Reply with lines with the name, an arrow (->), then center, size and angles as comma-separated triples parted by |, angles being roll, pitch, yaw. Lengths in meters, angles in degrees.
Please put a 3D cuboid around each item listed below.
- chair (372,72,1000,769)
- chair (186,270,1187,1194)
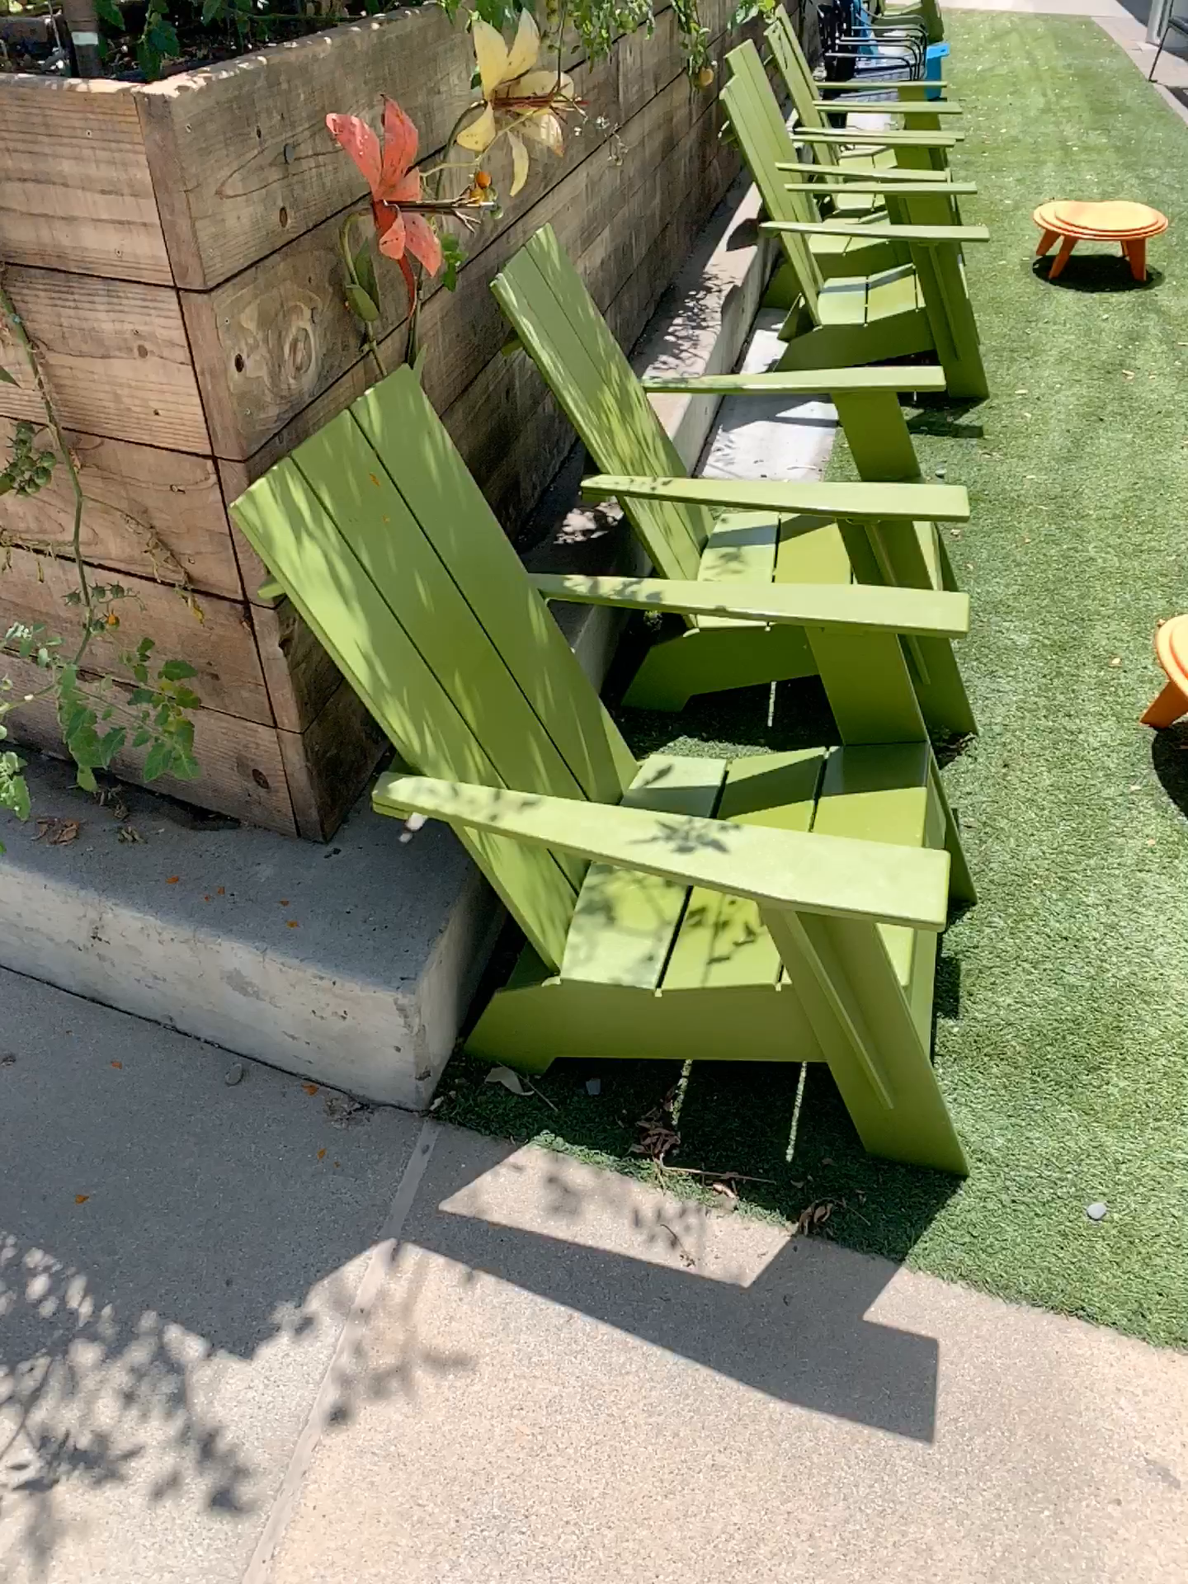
chair -> 0.272, -0.665, 2.360 | 0.890, 0.984, 0.684 | -3, 38, 22
chair -> 0.177, -0.109, 1.535 | 0.901, 0.835, 0.684 | 4, 37, 16
